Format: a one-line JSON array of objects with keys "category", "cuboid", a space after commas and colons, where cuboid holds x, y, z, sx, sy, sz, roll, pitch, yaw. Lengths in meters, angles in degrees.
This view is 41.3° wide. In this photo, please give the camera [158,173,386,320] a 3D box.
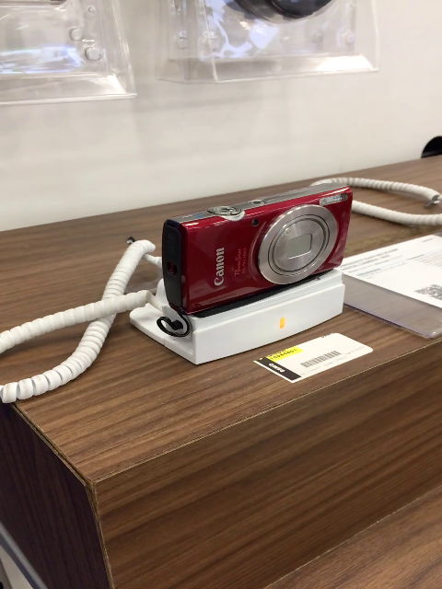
[{"category": "camera", "cuboid": [0.027, -0.025, 0.278, 0.104, 0.045, 0.026, -18, 36, -28]}]
